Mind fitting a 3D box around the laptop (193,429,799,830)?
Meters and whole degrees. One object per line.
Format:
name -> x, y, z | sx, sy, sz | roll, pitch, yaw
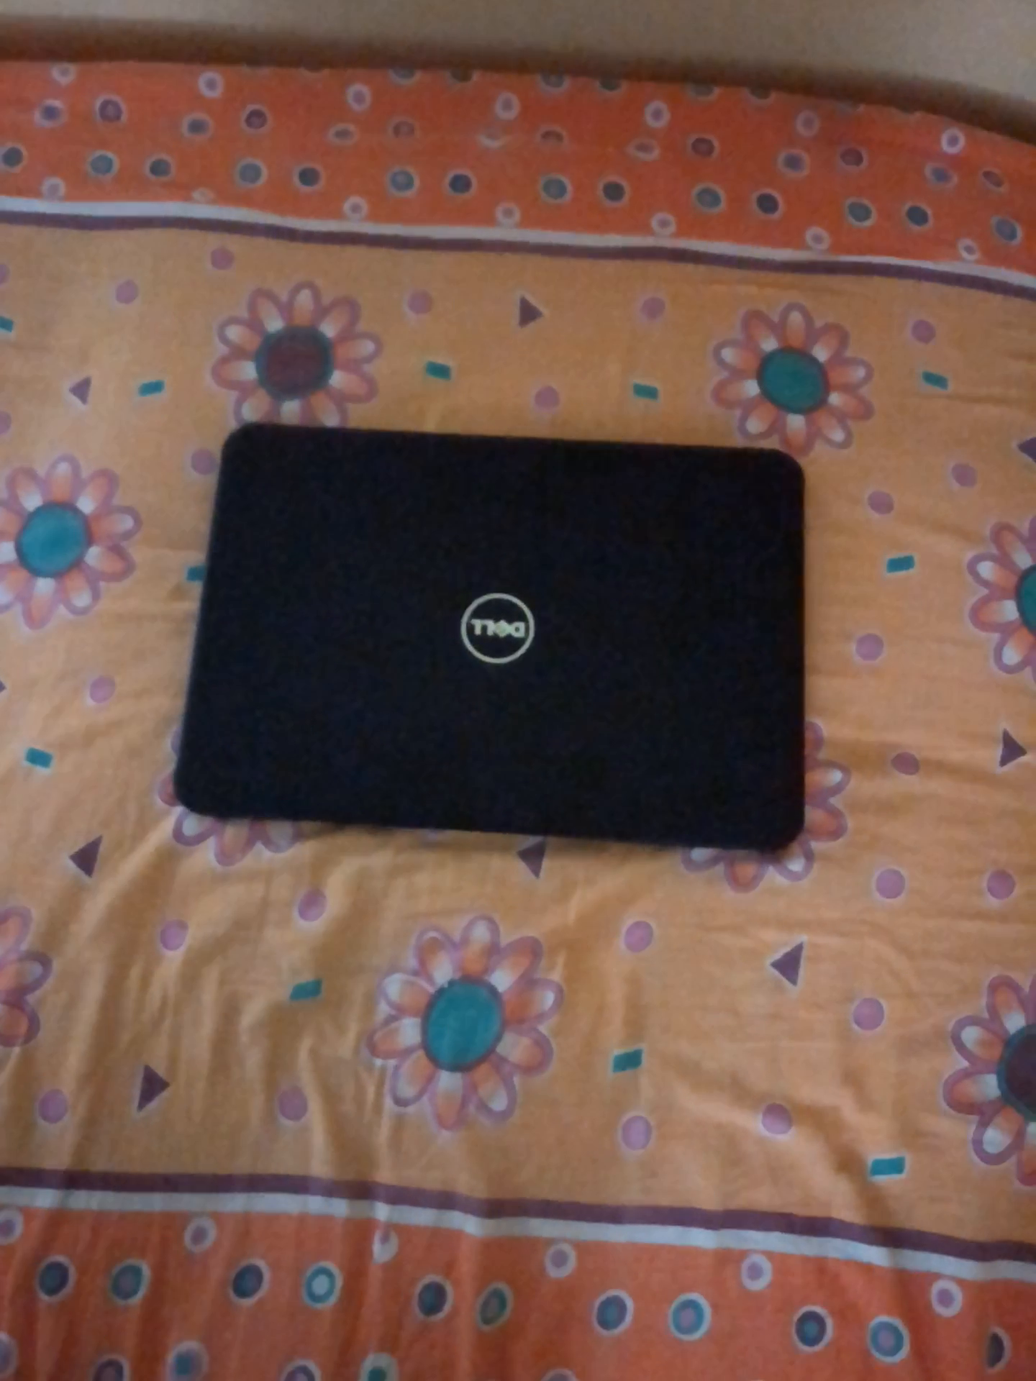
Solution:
laptop -> -0.010, -0.044, 0.705 | 0.358, 0.001, 0.236 | 3, 76, 2
